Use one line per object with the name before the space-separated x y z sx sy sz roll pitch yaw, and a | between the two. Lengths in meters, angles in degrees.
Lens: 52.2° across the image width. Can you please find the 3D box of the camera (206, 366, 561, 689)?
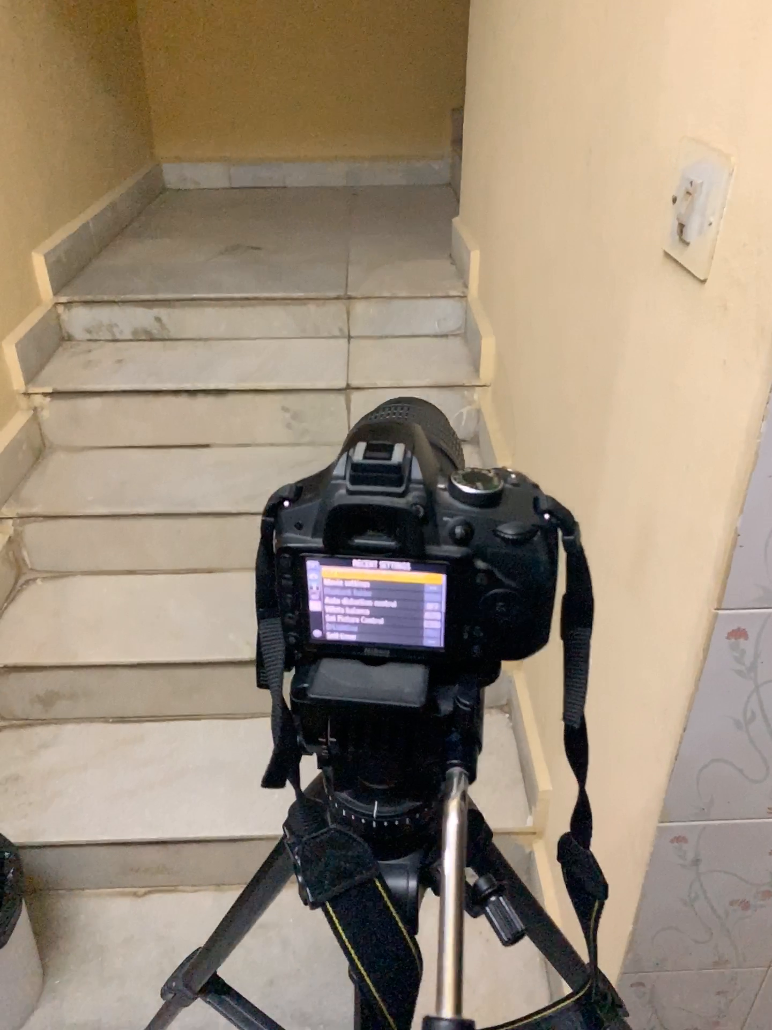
camera | 0.004 -0.002 0.374 0.134 0.090 0.131 3 31 5
